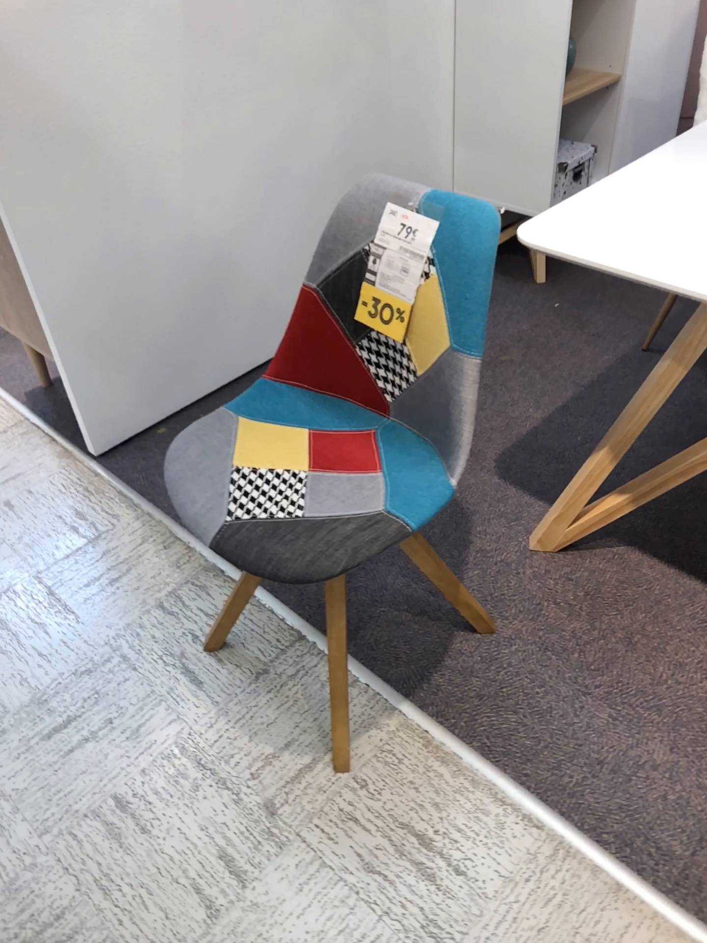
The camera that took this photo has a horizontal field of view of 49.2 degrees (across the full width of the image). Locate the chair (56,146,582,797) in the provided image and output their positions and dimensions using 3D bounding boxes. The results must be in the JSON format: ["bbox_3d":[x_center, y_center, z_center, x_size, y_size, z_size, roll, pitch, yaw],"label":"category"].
[{"bbox_3d":[-0.016,-0.004,1.275,0.471,0.815,0.512,29,50,34],"label":"chair"}]
